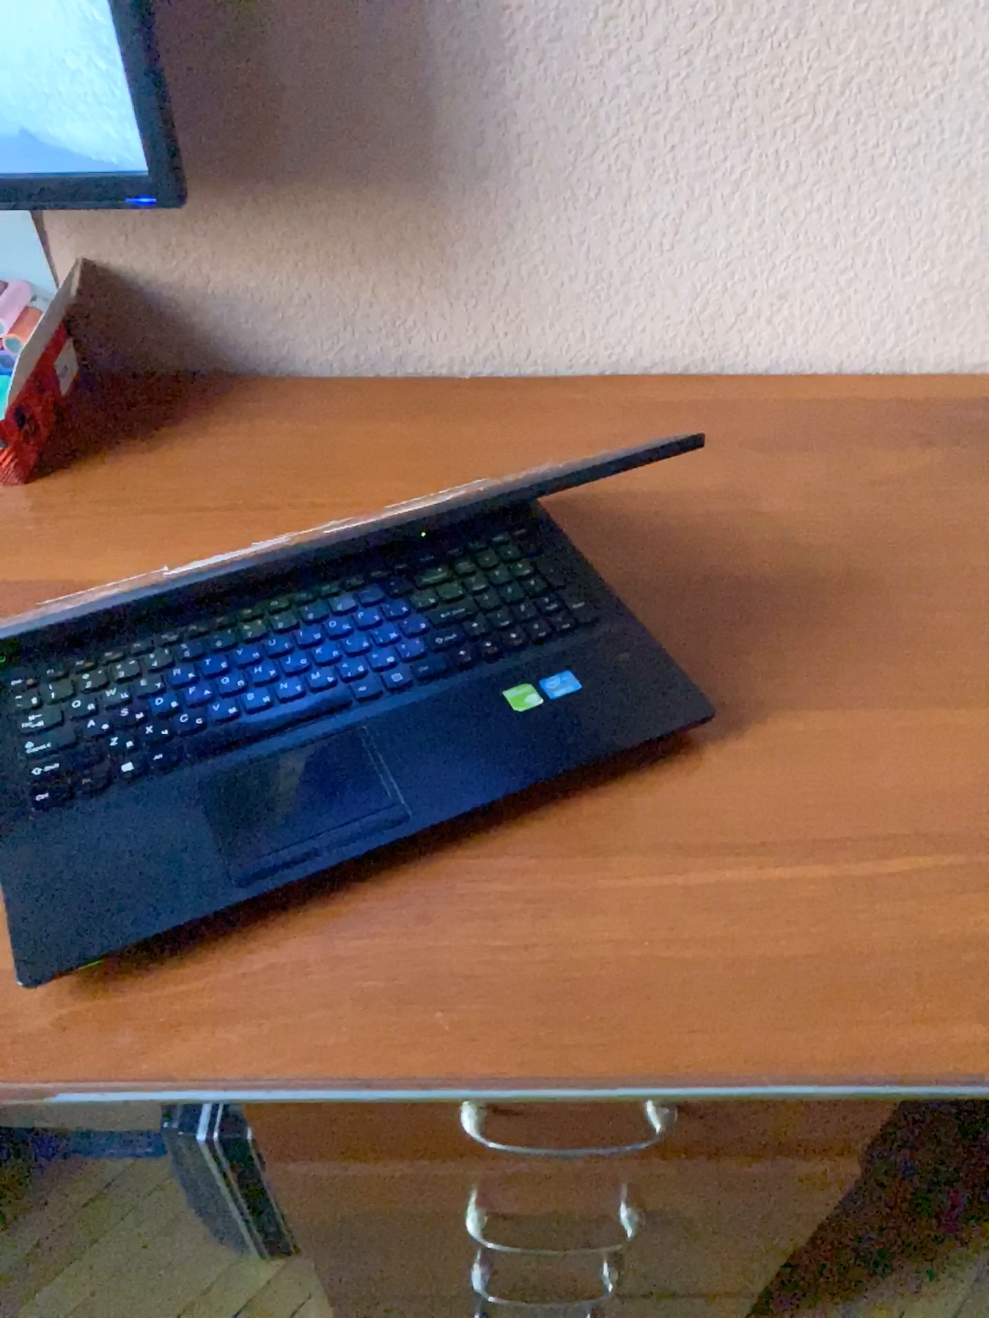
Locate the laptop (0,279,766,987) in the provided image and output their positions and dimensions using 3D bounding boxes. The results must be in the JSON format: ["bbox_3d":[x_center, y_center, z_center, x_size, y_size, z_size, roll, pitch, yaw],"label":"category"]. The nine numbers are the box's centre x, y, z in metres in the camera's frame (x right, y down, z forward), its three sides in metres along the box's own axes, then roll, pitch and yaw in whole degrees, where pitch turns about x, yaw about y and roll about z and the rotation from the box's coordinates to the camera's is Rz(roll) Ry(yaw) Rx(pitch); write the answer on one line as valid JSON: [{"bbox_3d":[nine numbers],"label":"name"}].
[{"bbox_3d":[-0.098,-0.045,0.545,0.377,0.149,0.256,-19,49,-18],"label":"laptop"}]
